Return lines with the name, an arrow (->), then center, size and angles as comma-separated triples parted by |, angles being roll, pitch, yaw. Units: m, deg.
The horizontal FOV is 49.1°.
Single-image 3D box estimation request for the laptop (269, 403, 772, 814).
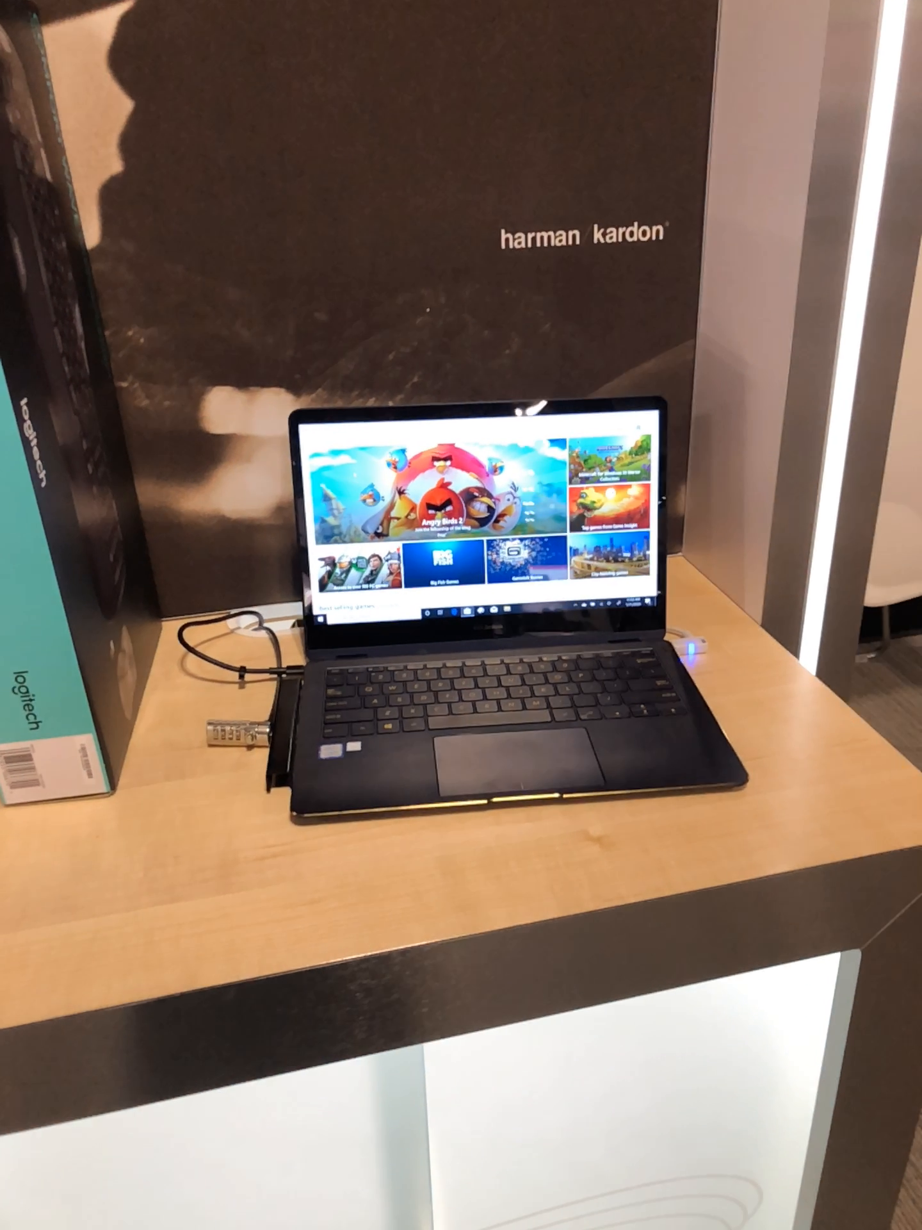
laptop -> 0.031, -0.022, 0.732 | 0.291, 0.190, 0.249 | -4, 26, -4
